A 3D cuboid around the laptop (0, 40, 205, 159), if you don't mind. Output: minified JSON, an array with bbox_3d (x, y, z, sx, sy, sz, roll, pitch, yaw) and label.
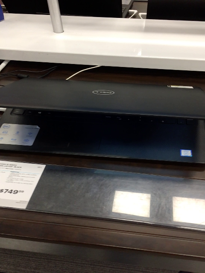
[{"bbox_3d":[0.008,-0.080,0.526,0.396,0.109,0.211,5,48,4],"label":"laptop"}]
